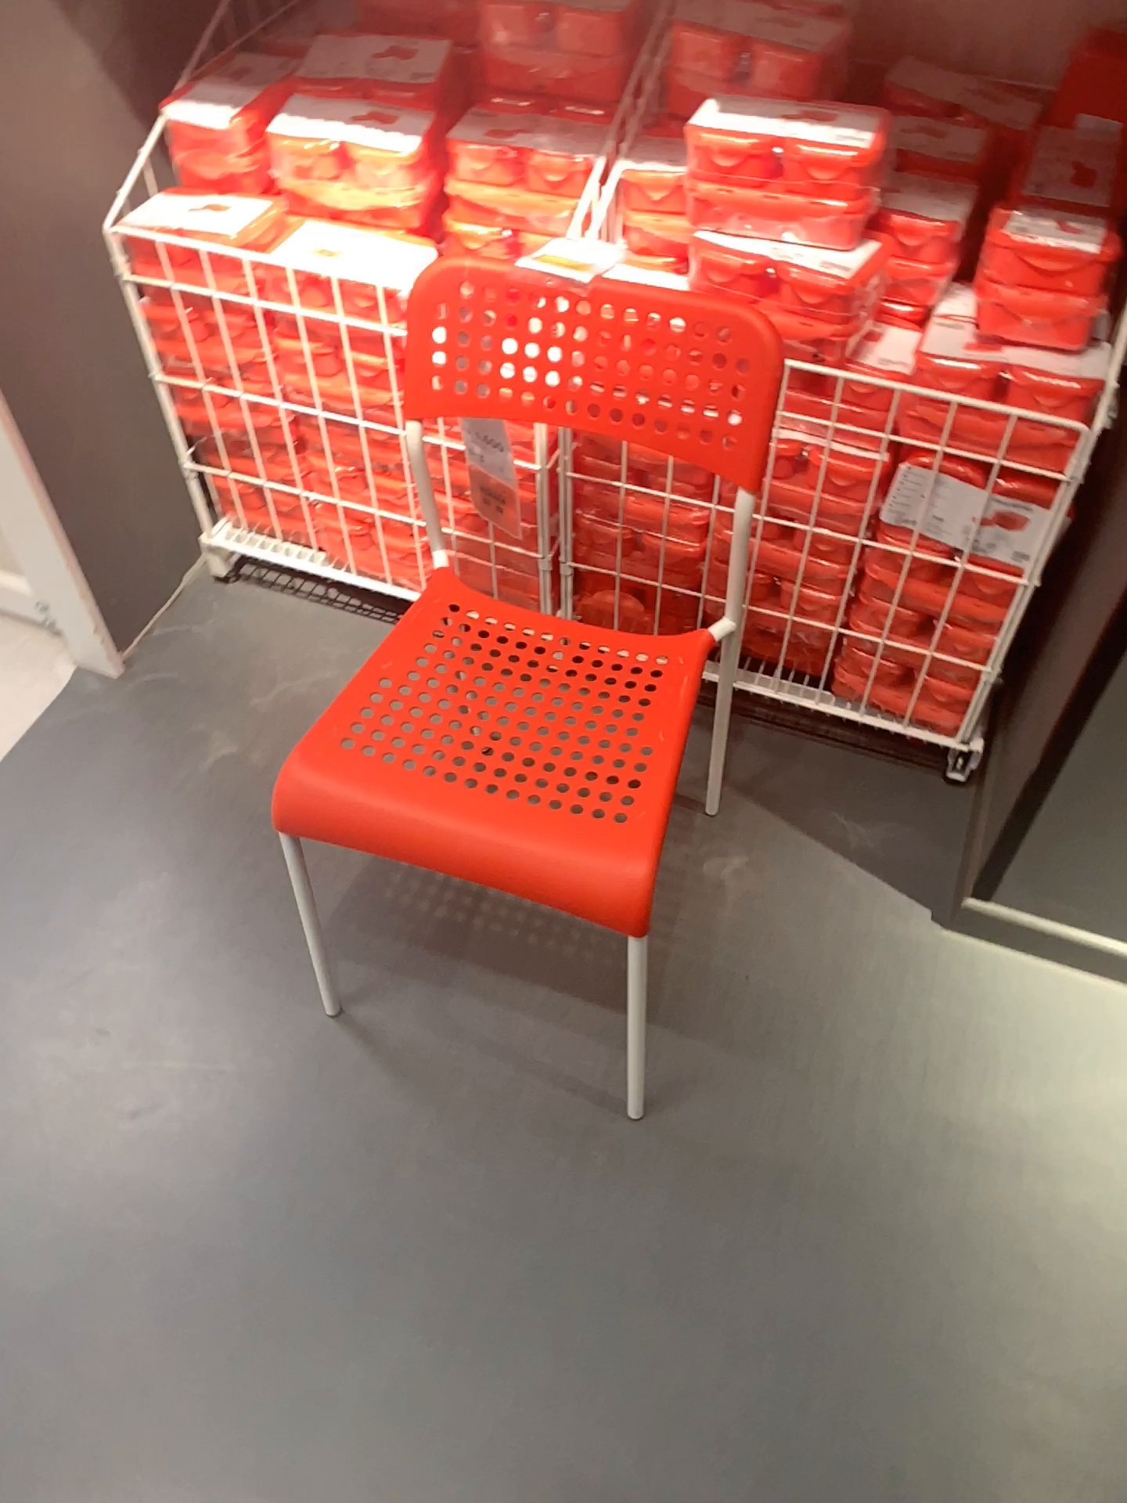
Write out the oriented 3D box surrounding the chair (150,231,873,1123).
[{"bbox_3d":[-0.010,-0.041,1.138,0.410,0.688,0.461,16,53,13],"label":"chair"}]
